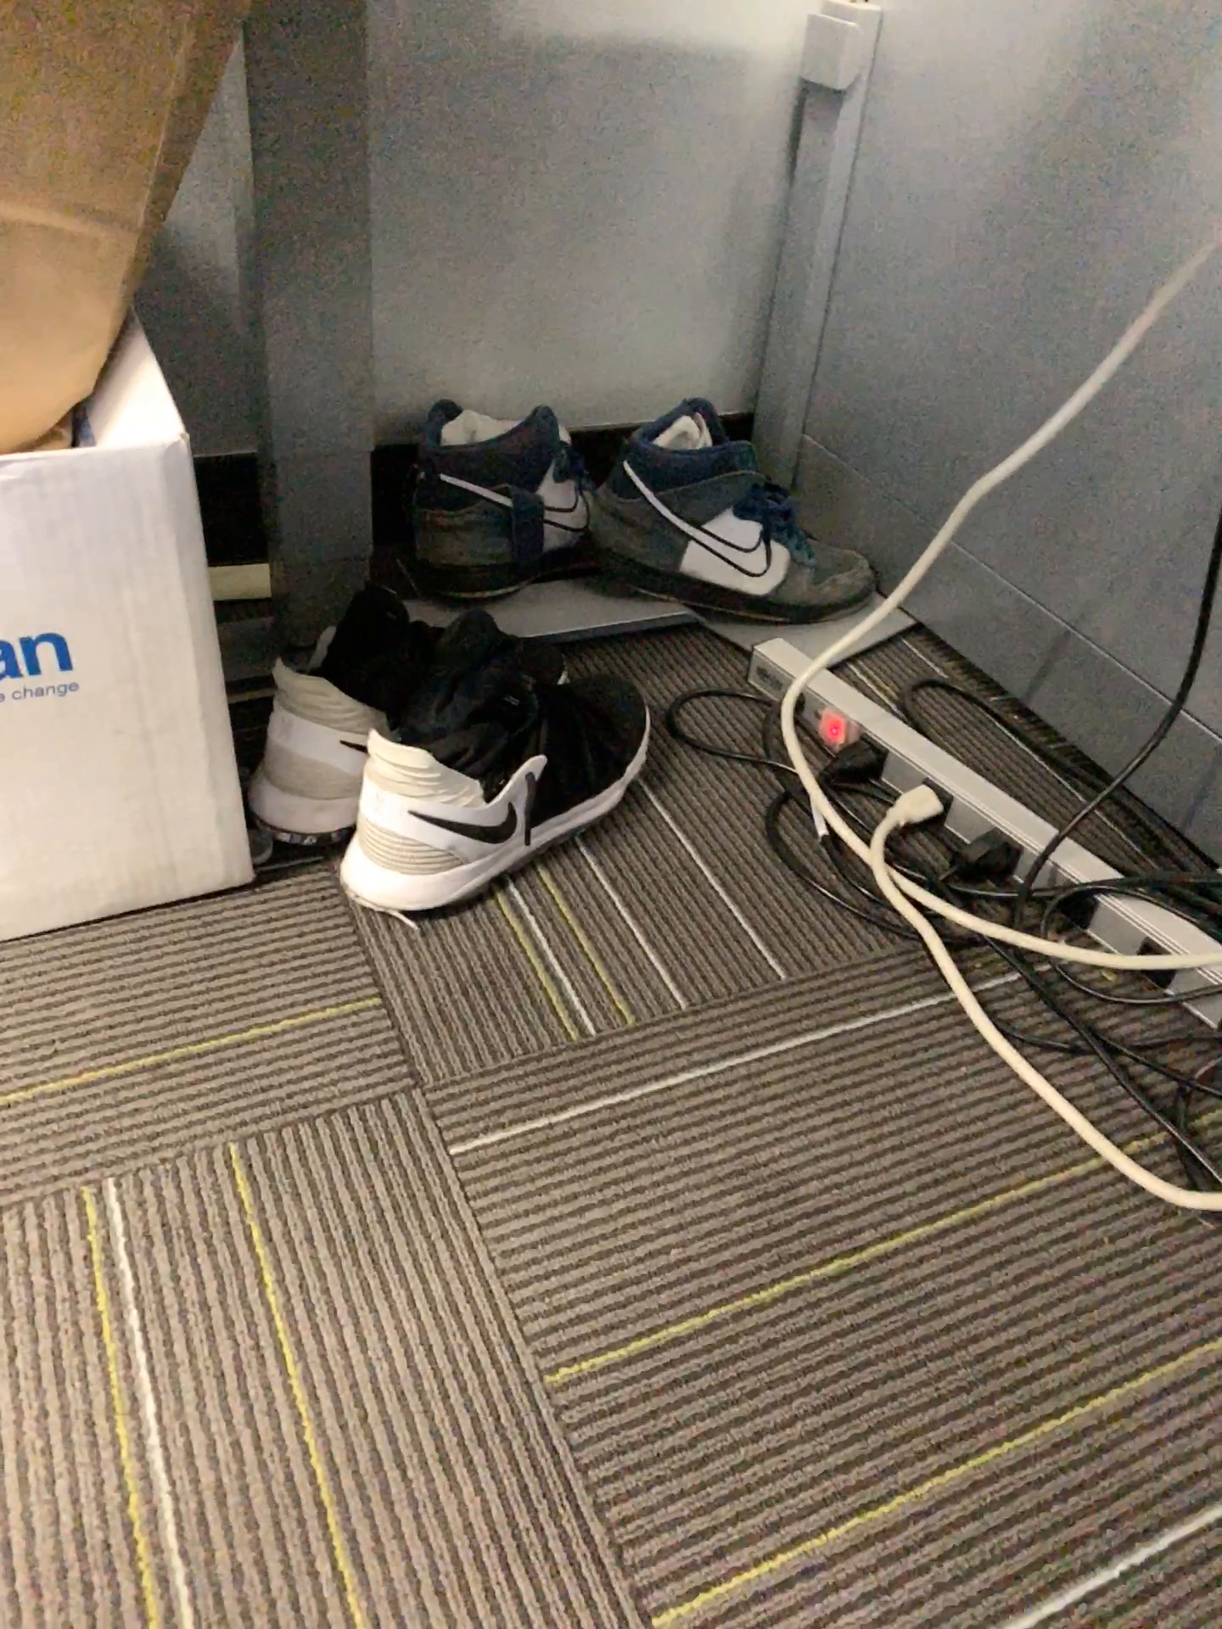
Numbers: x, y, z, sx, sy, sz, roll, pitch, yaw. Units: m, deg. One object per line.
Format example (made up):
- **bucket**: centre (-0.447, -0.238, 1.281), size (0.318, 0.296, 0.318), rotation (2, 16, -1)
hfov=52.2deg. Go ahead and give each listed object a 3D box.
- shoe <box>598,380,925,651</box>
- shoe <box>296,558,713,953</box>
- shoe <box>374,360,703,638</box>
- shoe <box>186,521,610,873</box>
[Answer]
- **shoe**: centre (0.133, -0.282, 1.184), size (0.260, 0.159, 0.131), rotation (11, 38, -8)
- **shoe**: centre (-0.063, -0.052, 0.848), size (0.100, 0.129, 0.291), rotation (30, 44, 26)
- **shoe**: centre (-0.062, -0.314, 1.198), size (0.130, 0.169, 0.331), rotation (25, 35, 22)
- **shoe**: centre (-0.144, -0.097, 0.917), size (0.100, 0.129, 0.301), rotation (33, 45, 28)
